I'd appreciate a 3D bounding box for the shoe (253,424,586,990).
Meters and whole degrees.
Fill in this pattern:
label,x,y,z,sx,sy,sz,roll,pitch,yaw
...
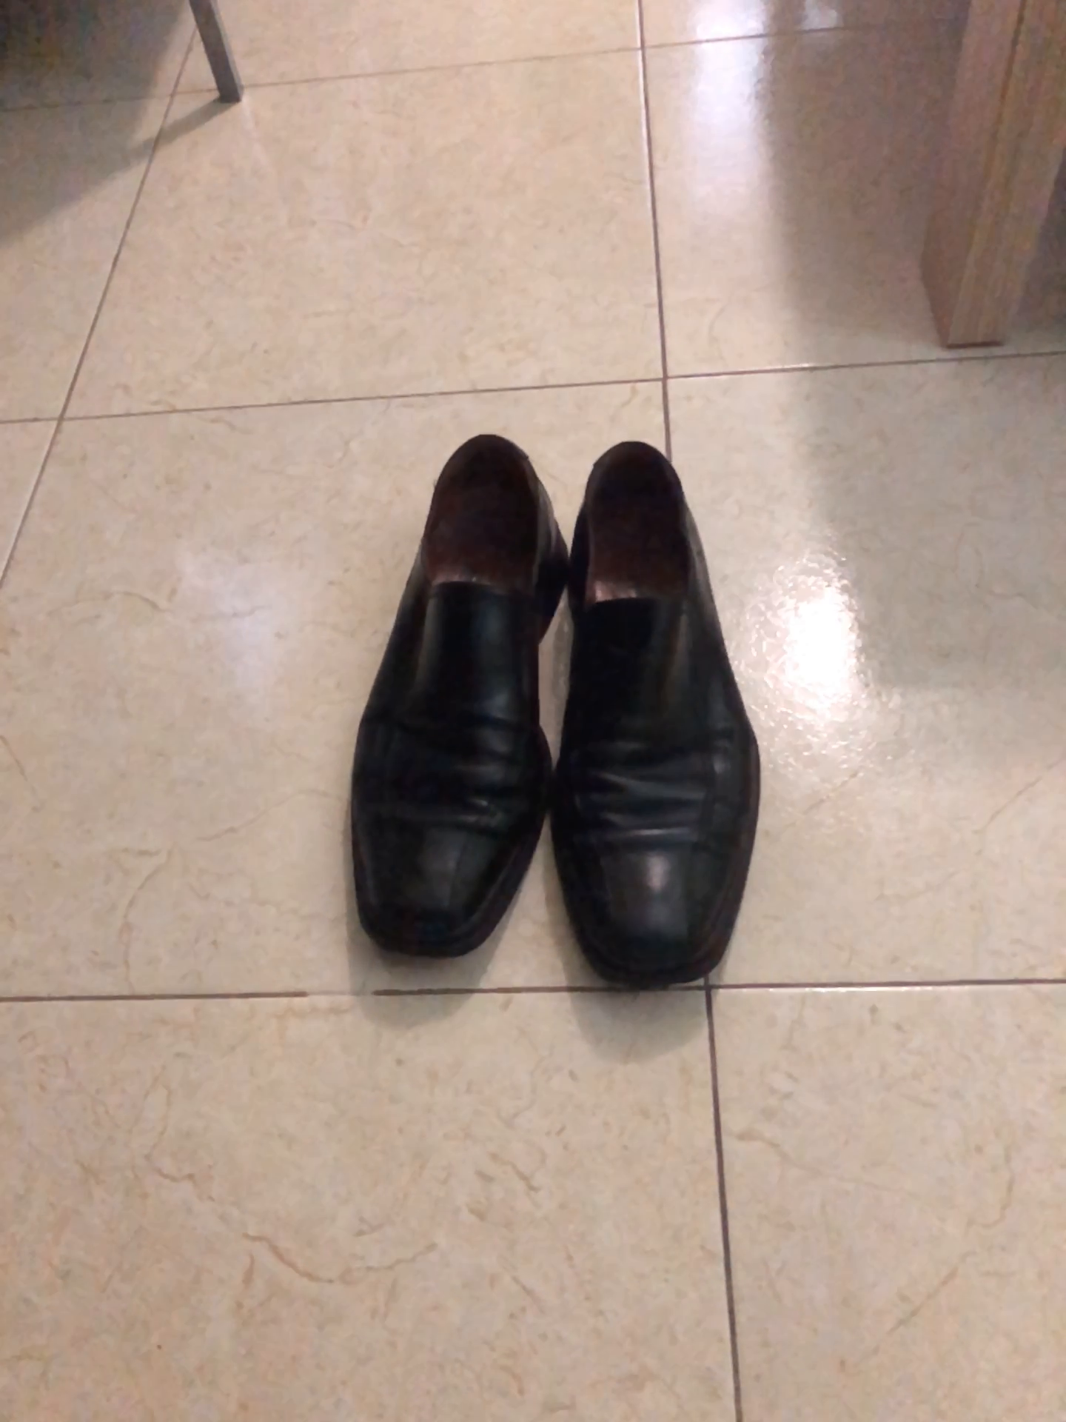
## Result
label,x,y,z,sx,sy,sz,roll,pitch,yaw
shoe,-0.046,-0.016,0.645,0.120,0.090,0.311,2,56,8

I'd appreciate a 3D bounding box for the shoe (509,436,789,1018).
label,x,y,z,sx,sy,sz,roll,pitch,yaw
shoe,0.058,-0.003,0.630,0.120,0.090,0.311,-2,55,6
